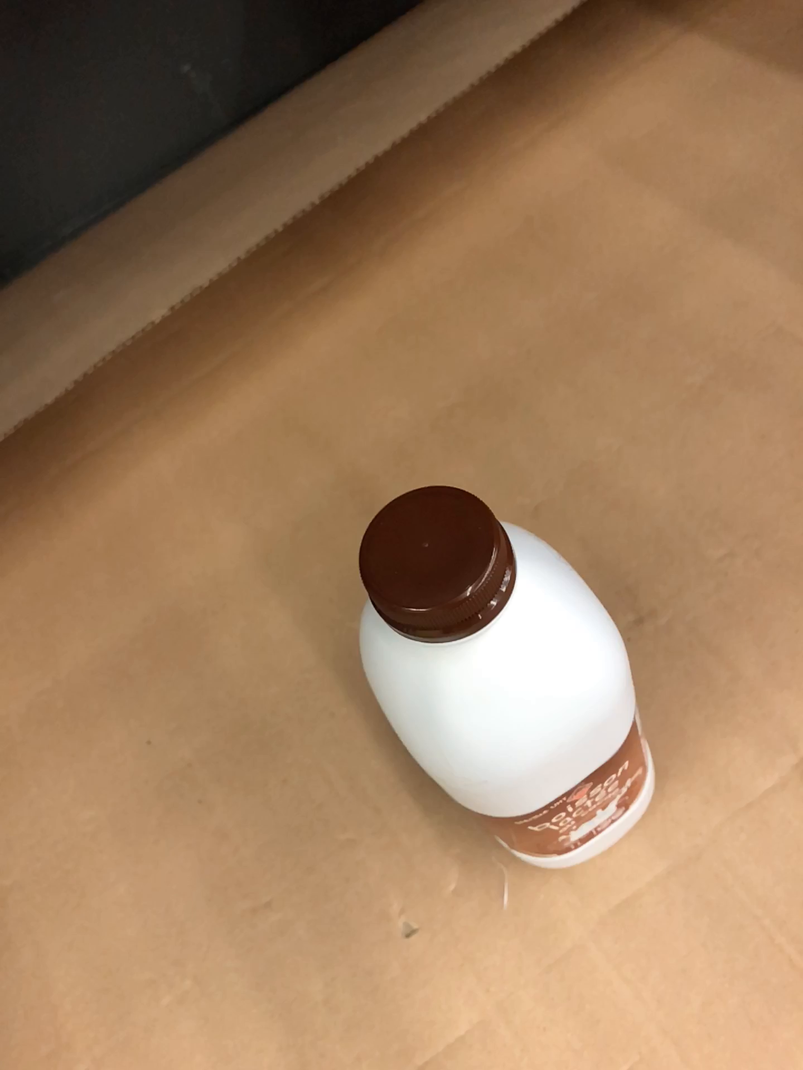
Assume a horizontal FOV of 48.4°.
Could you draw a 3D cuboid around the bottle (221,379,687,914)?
[{"bbox_3d":[0.041,0.064,0.332,0.090,0.239,0.080,-38,57,-5],"label":"bottle"}]
